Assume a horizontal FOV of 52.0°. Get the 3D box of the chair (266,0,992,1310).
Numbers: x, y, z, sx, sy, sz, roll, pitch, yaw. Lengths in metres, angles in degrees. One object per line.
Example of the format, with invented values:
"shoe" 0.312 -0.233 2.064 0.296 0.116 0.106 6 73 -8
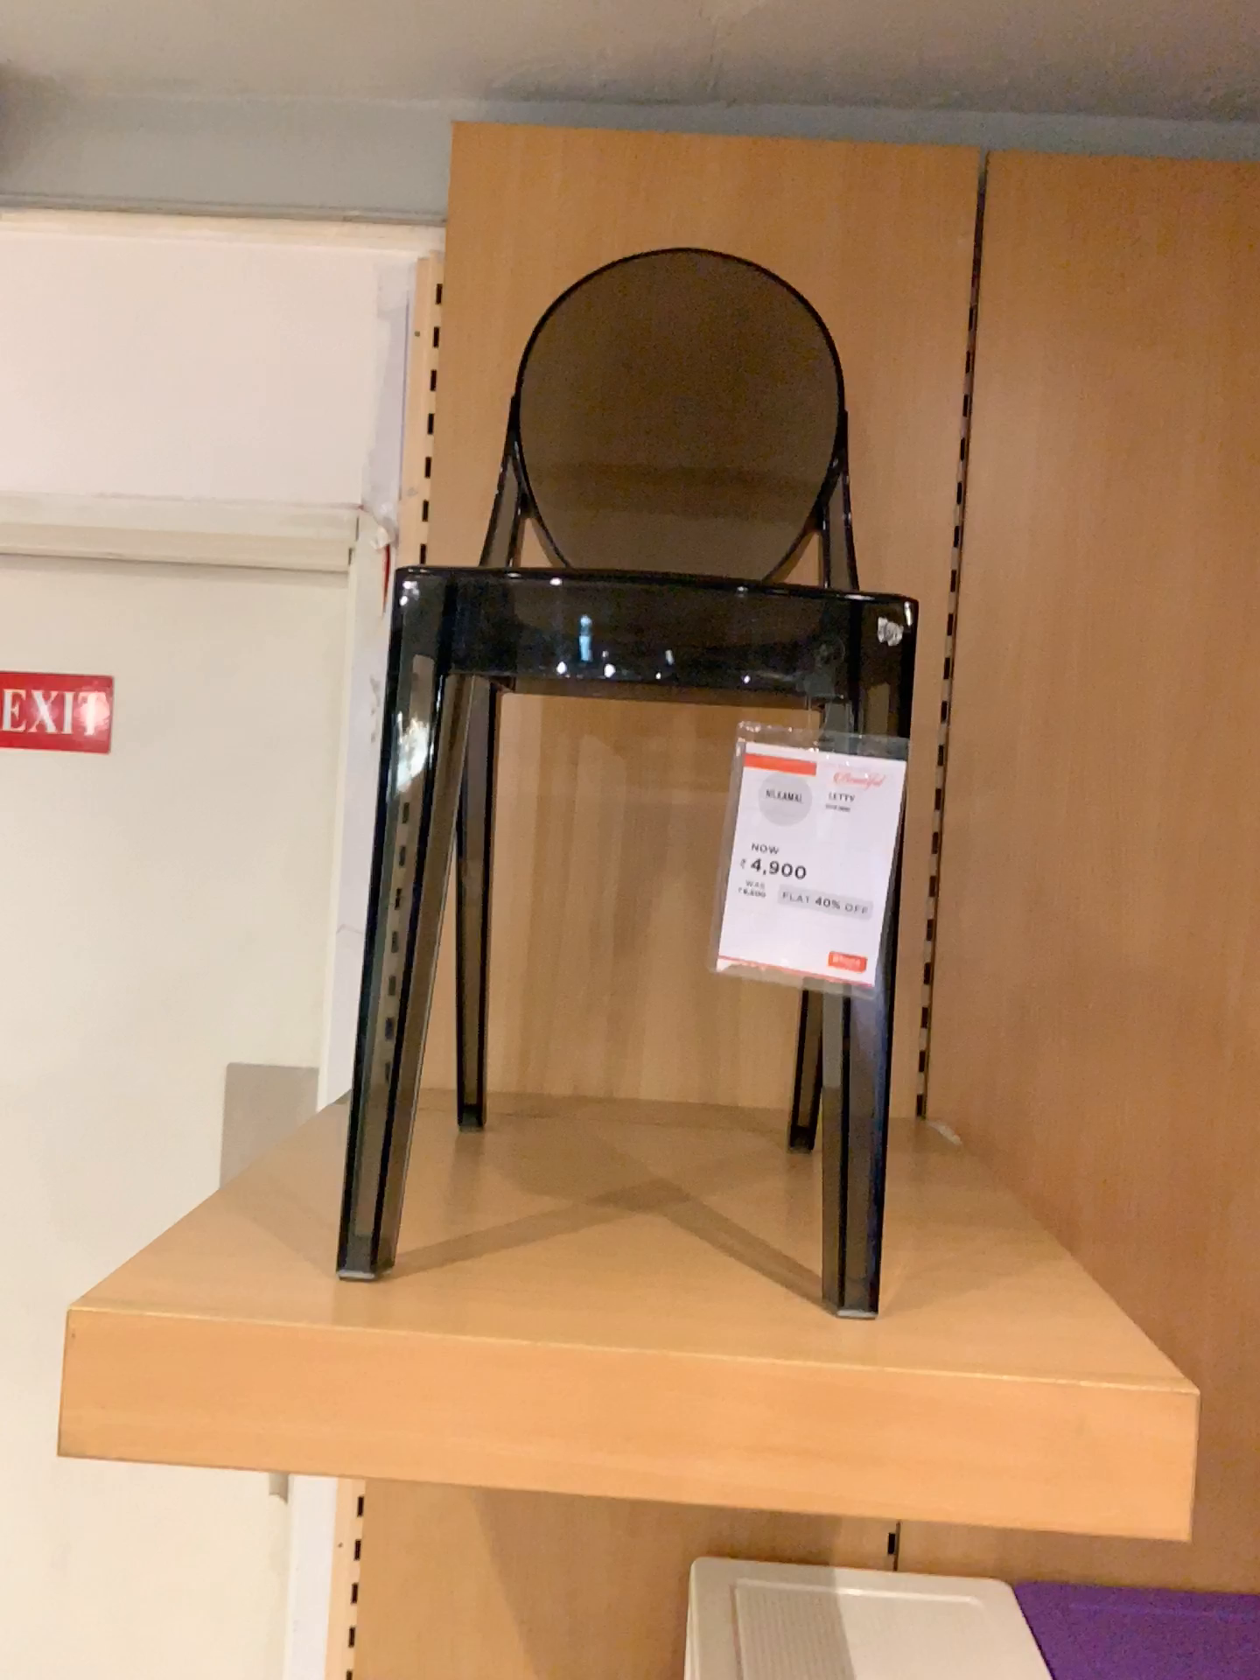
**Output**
"chair" 0.002 -0.149 1.033 0.400 0.850 0.470 3 0 1
